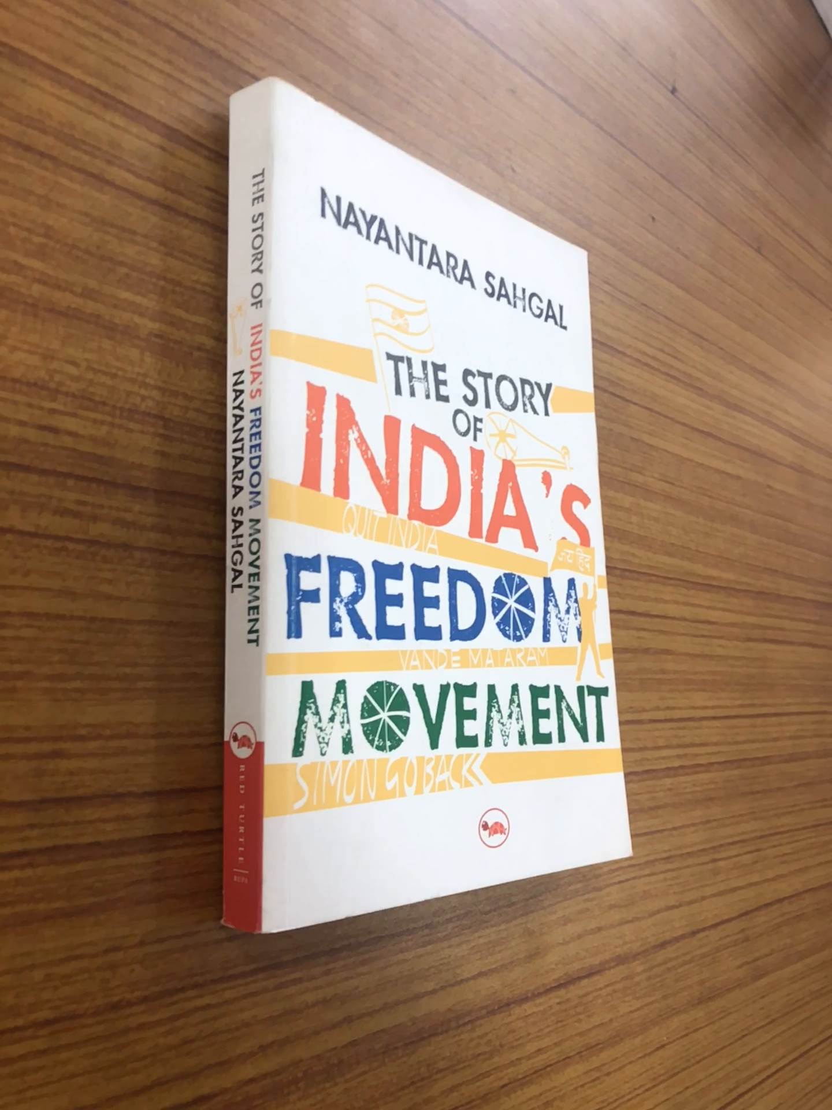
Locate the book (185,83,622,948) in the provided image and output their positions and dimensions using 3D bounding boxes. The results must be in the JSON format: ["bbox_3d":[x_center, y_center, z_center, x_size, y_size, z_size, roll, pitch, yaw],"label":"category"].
[{"bbox_3d":[0.003,-0.007,0.257,0.131,0.030,0.190,8,77,-45],"label":"book"}]
